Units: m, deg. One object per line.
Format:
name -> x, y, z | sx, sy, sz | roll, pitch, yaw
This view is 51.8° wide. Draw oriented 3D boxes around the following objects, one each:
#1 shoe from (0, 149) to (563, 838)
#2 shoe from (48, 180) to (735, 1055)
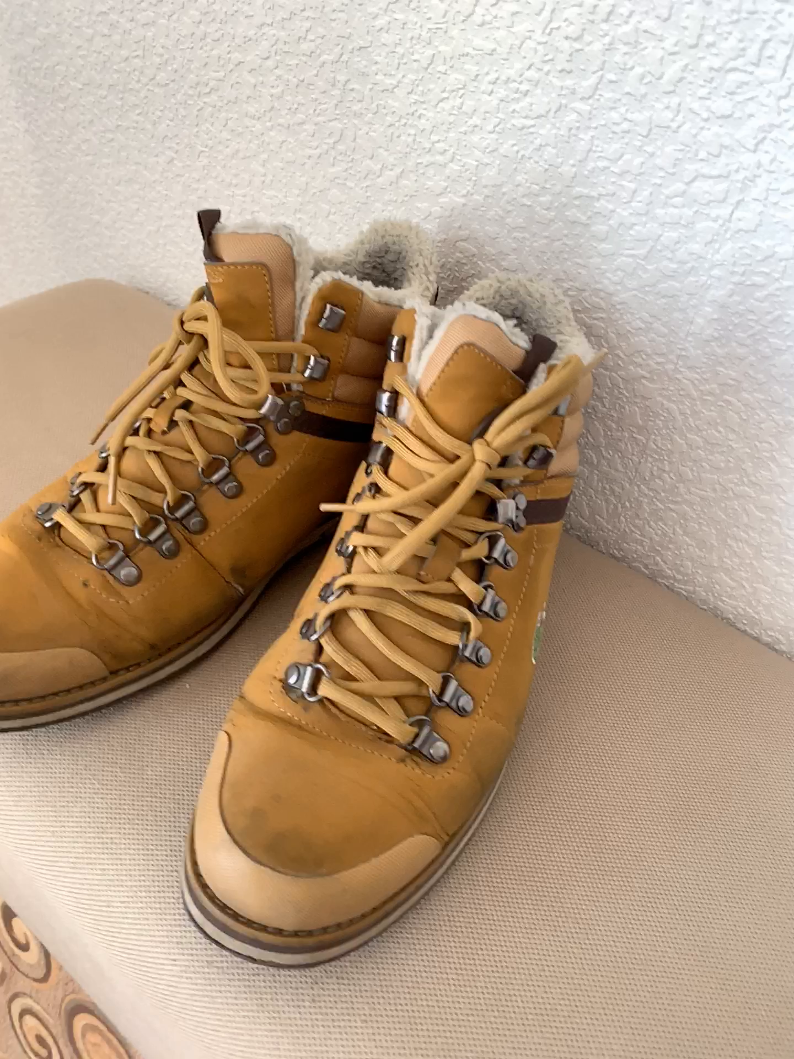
shoe -> -0.075, -0.041, 0.365 | 0.120, 0.149, 0.301 | 35, 51, 25
shoe -> 0.029, 0.004, 0.327 | 0.120, 0.149, 0.301 | 20, 48, 13
